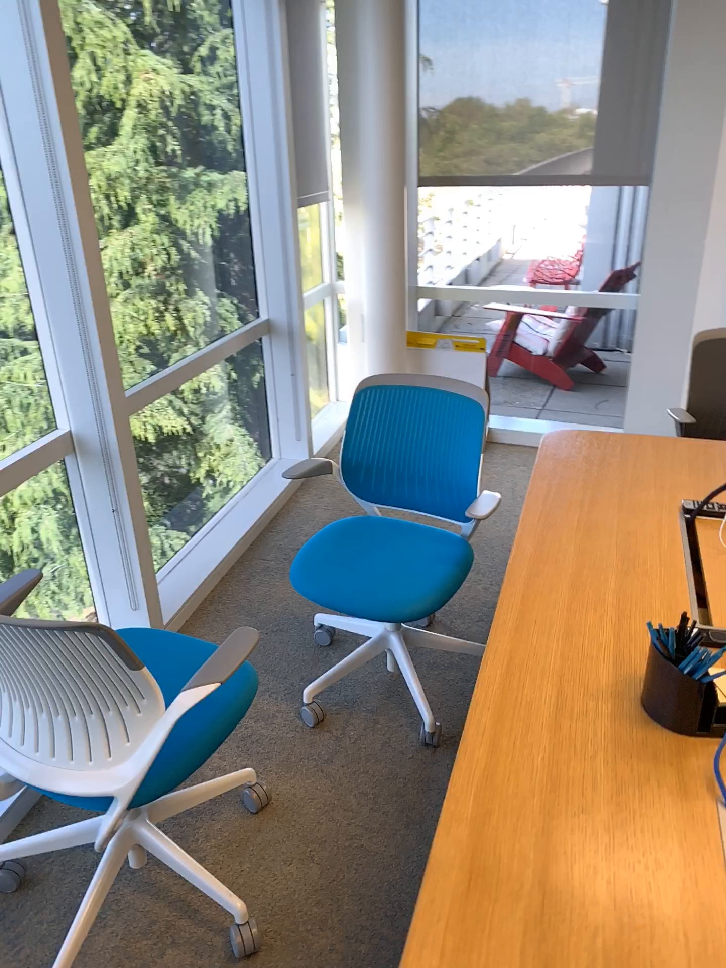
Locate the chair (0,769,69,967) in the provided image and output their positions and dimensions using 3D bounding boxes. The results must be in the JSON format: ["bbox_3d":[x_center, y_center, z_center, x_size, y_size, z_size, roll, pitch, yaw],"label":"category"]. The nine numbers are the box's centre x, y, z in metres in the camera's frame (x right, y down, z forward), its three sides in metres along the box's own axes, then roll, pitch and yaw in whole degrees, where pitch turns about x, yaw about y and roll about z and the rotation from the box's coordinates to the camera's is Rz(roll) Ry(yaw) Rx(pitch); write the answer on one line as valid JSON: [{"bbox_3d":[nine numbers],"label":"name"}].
[{"bbox_3d":[-1.065,1.083,0.964,0.870,1.134,0.734,0,25,3],"label":"chair"}]

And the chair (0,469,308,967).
[{"bbox_3d":[-0.556,0.583,1.642,0.651,1.014,0.643,4,26,12],"label":"chair"}]

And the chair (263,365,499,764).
[{"bbox_3d":[0.097,0.238,2.512,0.541,1.094,0.632,8,27,21],"label":"chair"}]
